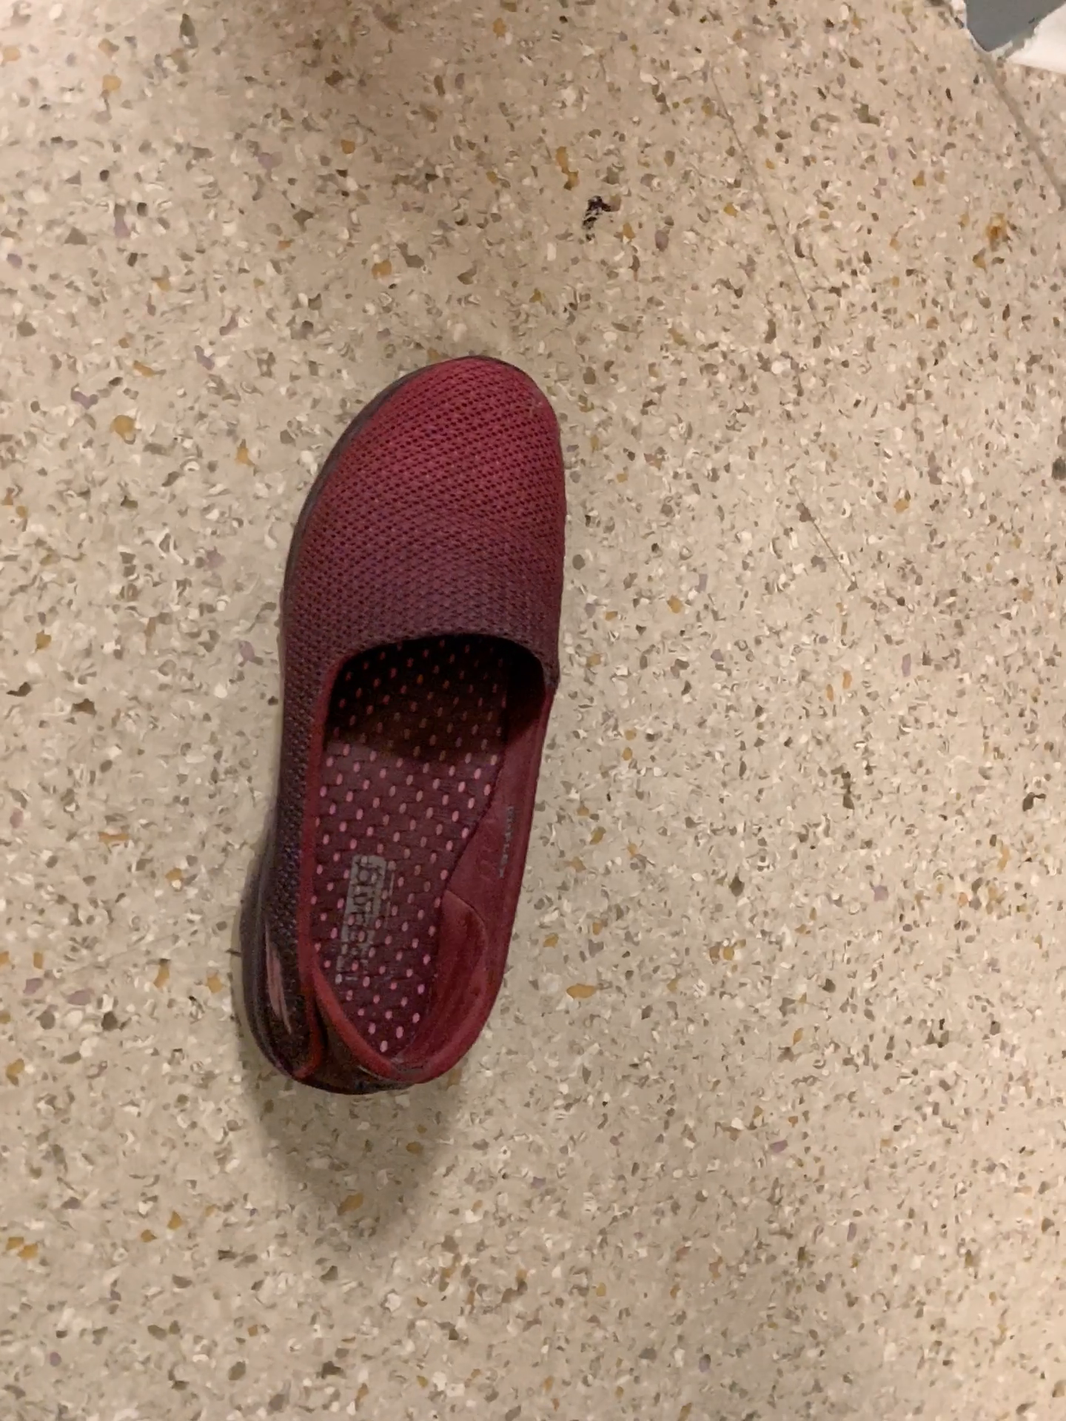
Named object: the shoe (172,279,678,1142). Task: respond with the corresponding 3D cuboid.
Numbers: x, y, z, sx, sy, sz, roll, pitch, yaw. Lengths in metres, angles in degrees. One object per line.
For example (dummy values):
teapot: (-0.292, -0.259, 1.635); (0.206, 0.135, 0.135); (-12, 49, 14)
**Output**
shoe: (-0.038, 0.003, 0.350); (0.092, 0.091, 0.229); (15, 83, -22)
